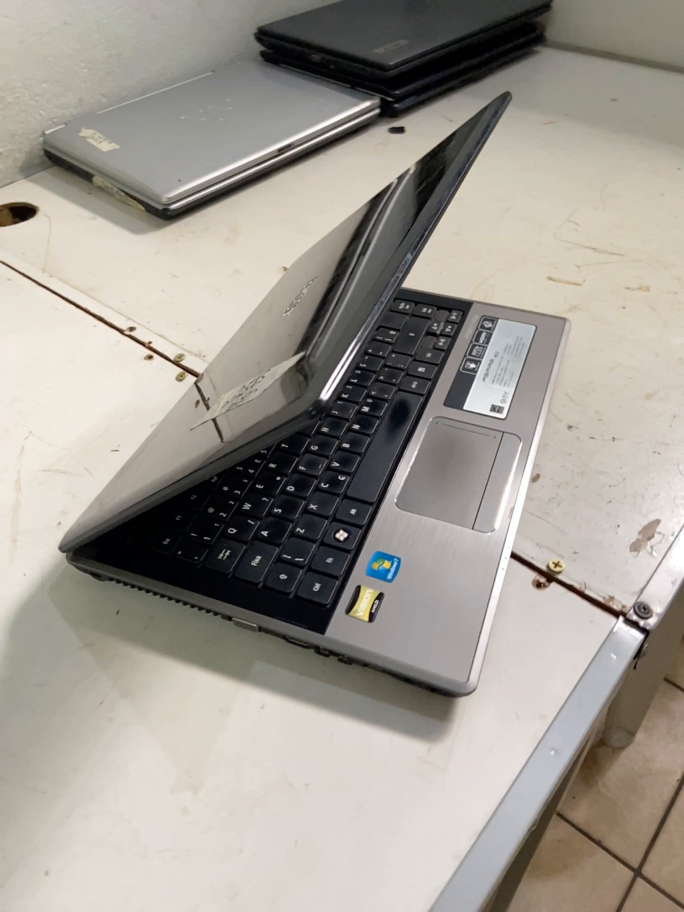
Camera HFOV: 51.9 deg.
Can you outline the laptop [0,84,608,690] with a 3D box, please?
[{"bbox_3d":[0.015,-0.080,0.434,0.226,0.157,0.336,14,46,15],"label":"laptop"}]
